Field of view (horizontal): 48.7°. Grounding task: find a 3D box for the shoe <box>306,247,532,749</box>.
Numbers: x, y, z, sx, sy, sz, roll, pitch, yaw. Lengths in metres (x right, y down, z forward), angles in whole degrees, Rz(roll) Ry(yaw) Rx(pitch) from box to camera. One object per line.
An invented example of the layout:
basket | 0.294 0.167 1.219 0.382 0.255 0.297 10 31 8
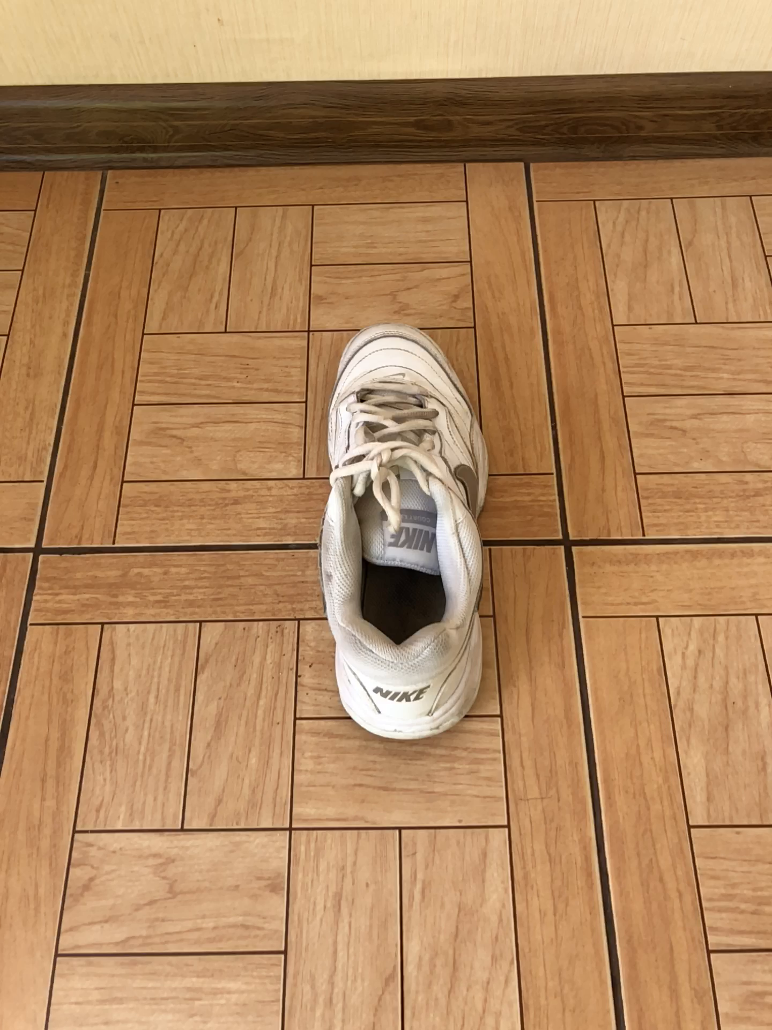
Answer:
shoe | 0.012 -0.012 0.478 0.100 0.100 0.260 -2 65 1
